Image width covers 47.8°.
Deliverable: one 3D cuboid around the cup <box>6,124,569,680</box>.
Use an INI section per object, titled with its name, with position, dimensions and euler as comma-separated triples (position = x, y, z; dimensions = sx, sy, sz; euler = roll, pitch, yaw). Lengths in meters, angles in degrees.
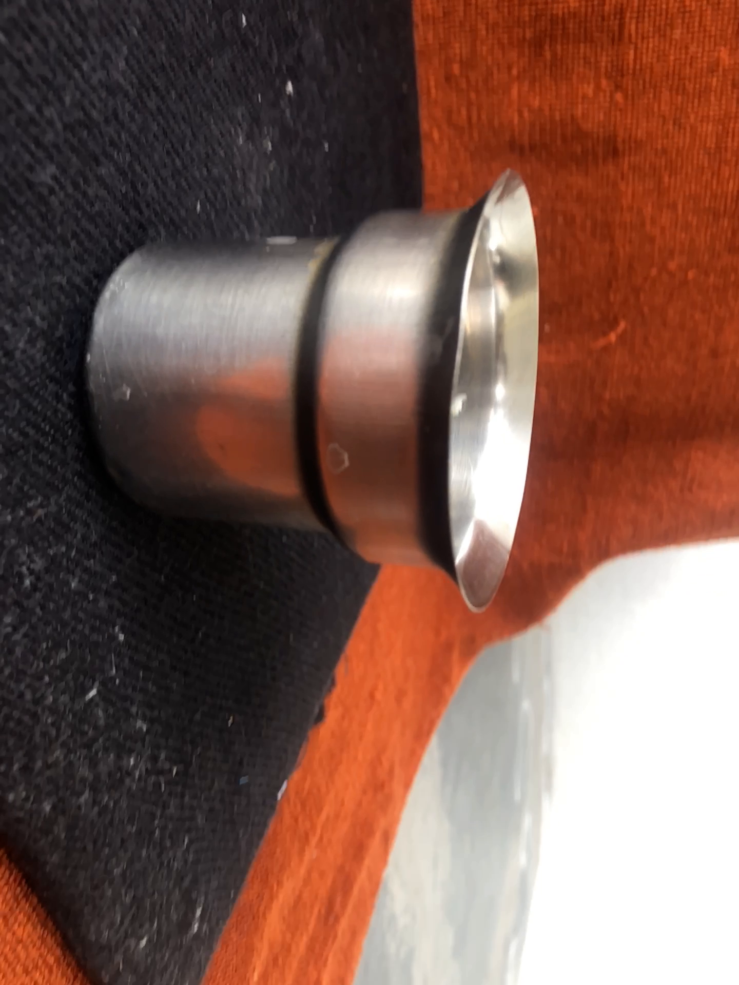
[cup]
position = -0.004, -0.021, 0.155
dimensions = 0.070, 0.070, 0.070
euler = 6, 90, -73
